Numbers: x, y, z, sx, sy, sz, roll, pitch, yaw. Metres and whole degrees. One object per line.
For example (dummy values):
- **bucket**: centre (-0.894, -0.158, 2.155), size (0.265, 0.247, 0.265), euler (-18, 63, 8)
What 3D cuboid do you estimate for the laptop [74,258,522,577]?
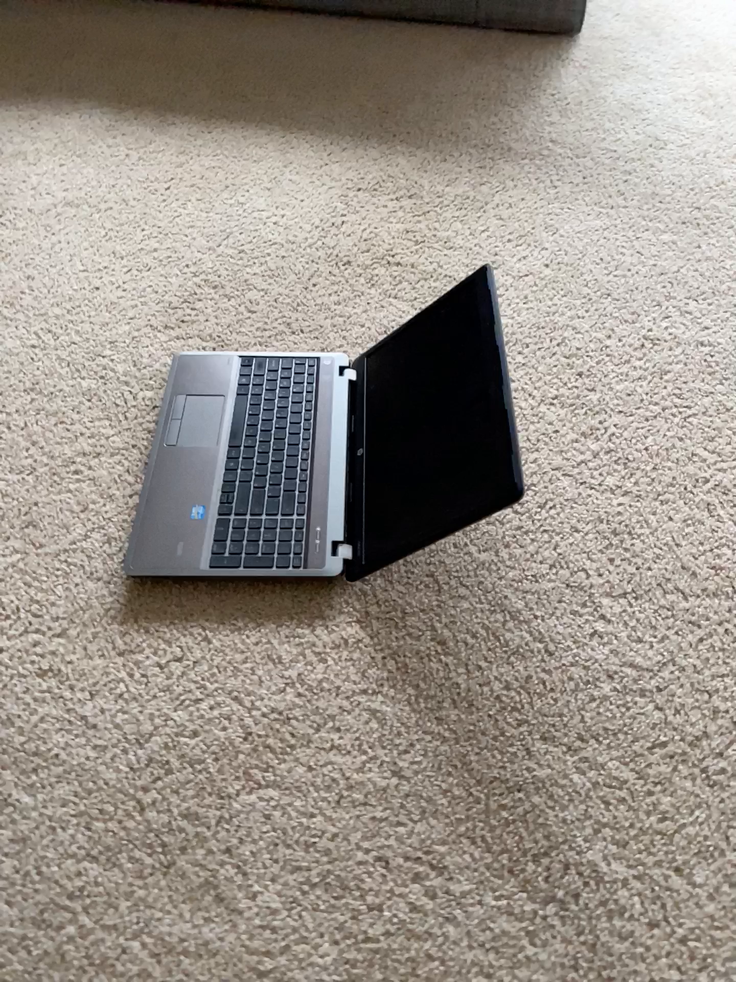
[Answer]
- **laptop**: centre (-0.068, -0.099, 0.903), size (0.435, 0.162, 0.376), euler (0, 53, 0)
